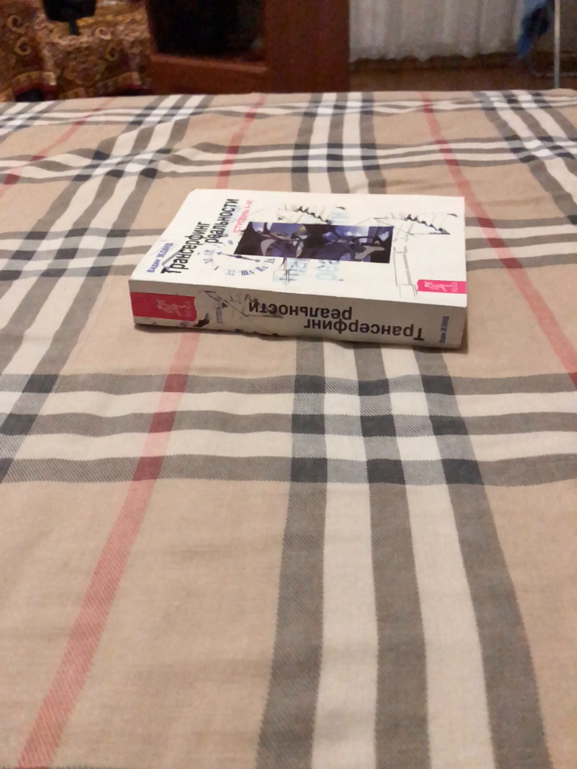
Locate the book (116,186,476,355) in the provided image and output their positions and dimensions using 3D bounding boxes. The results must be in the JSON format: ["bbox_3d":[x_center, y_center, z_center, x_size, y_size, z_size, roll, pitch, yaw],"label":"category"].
[{"bbox_3d":[0.012,-0.083,0.421,0.202,0.037,0.144,5,37,7],"label":"book"}]
